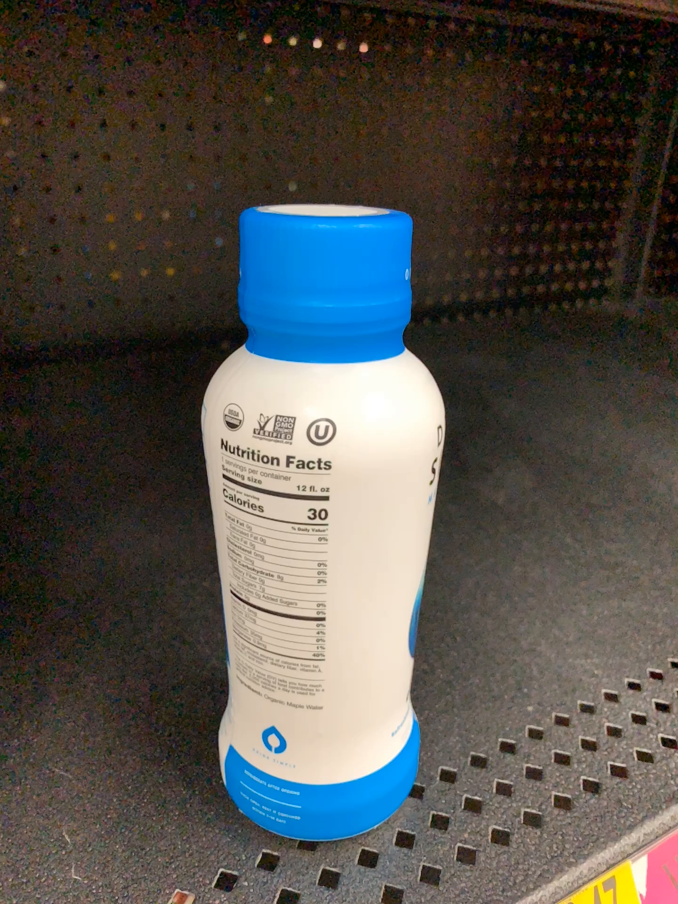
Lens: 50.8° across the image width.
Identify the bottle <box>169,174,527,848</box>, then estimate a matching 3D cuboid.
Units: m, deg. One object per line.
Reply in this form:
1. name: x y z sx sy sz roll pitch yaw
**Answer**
1. bottle: -0.003 0.017 0.196 0.065 0.169 0.070 2 24 -1
